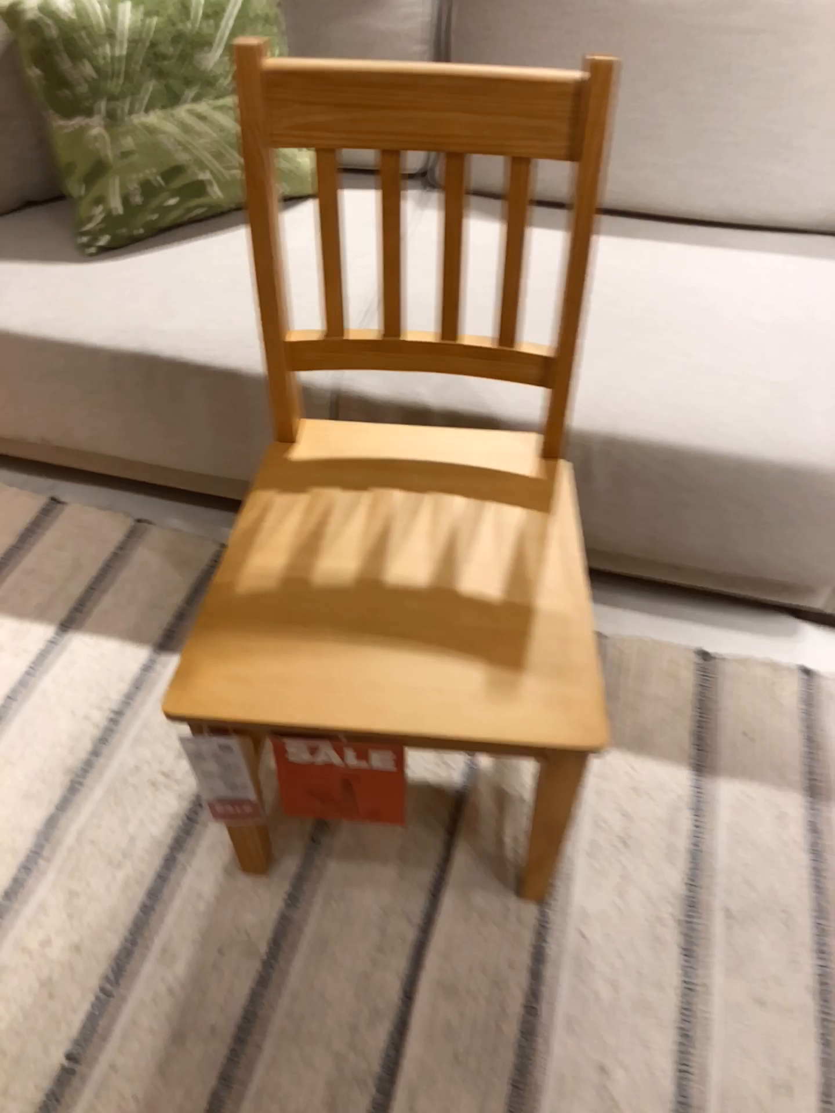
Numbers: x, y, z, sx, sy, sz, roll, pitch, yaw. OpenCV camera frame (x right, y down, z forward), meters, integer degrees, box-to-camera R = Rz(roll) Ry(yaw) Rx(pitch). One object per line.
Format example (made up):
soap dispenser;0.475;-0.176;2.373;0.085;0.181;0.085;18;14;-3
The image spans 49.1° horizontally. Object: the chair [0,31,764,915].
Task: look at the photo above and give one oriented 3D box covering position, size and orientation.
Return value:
chair;-0.011;-0.032;1.011;0.460;0.815;0.523;4;49;3
